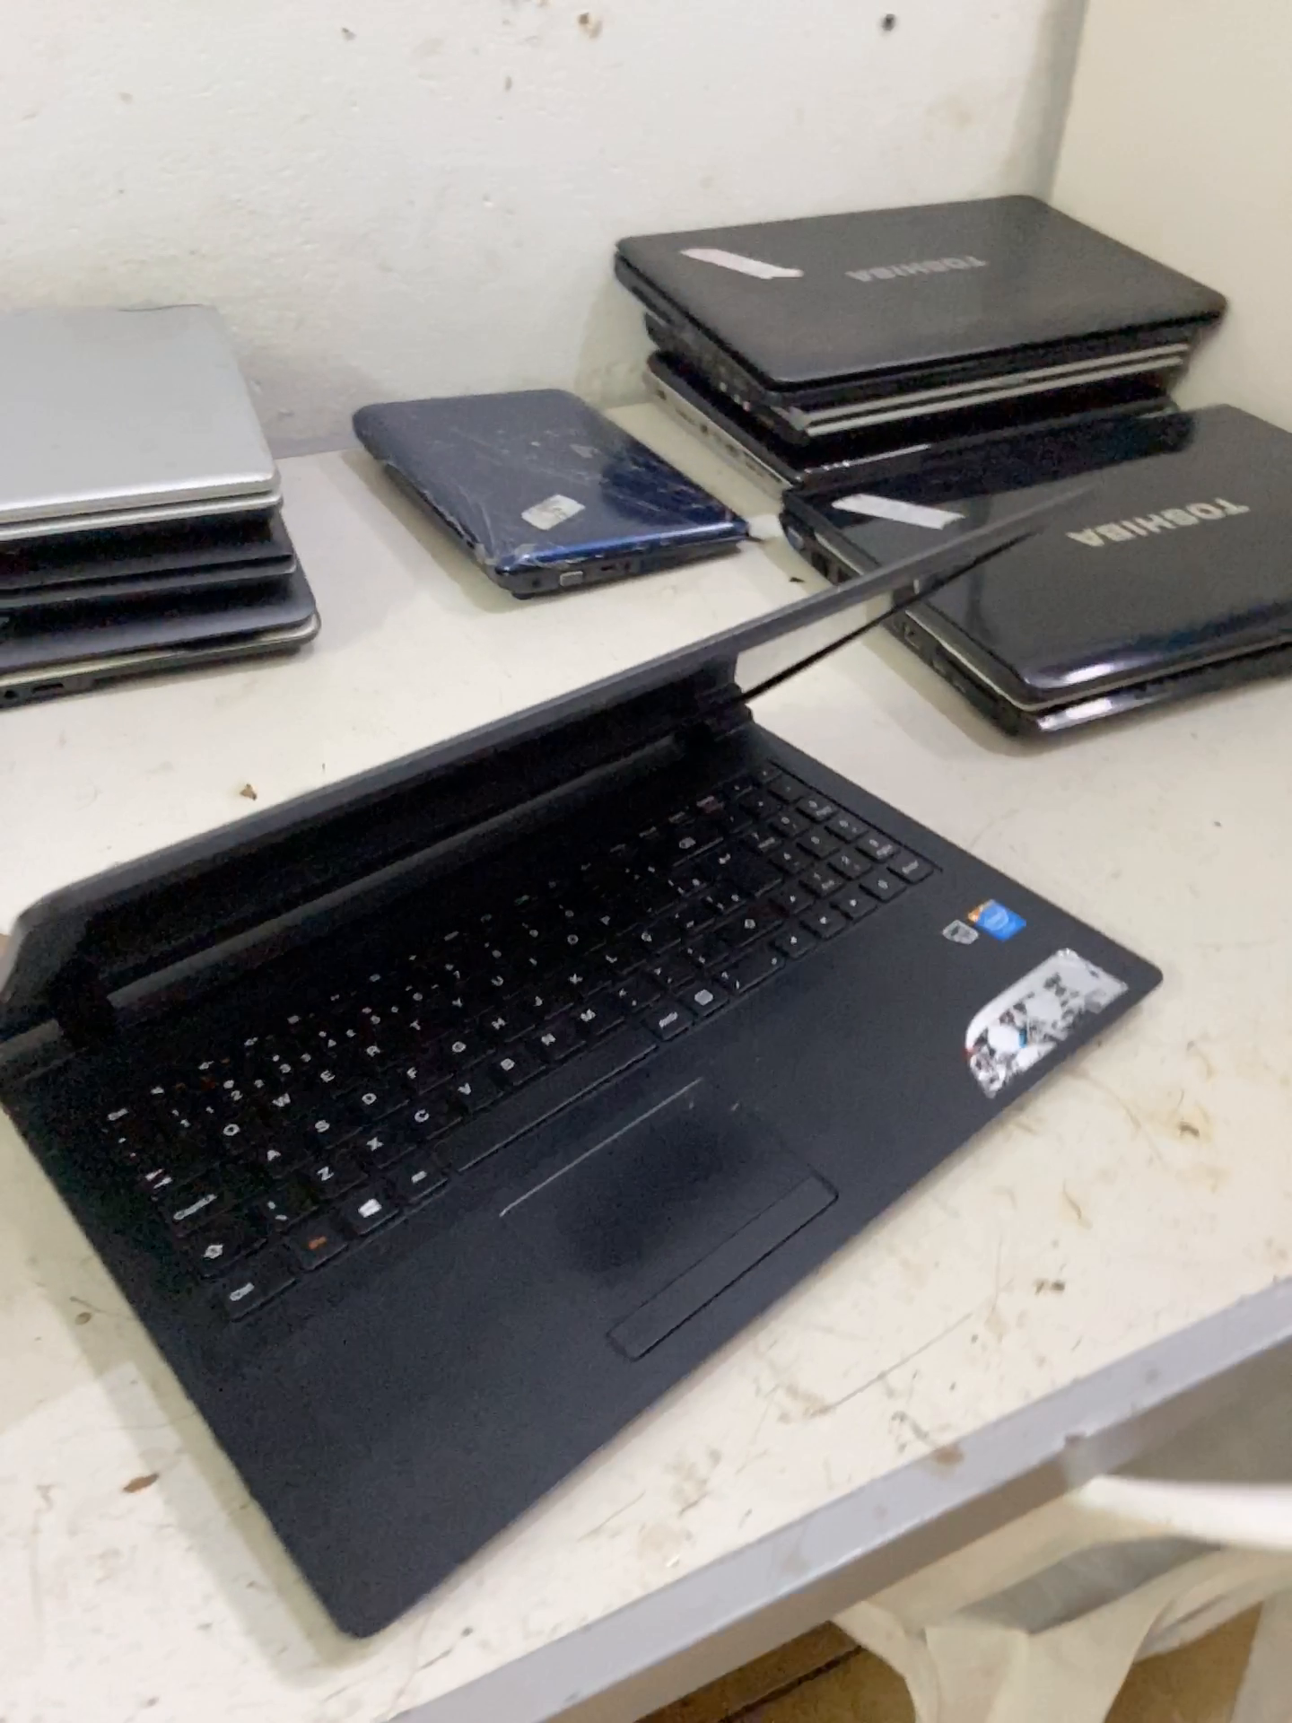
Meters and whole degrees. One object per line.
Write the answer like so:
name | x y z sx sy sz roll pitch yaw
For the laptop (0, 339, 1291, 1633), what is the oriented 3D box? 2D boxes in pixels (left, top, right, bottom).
laptop | -0.012 -0.014 0.454 0.377 0.189 0.258 -28 47 -32
